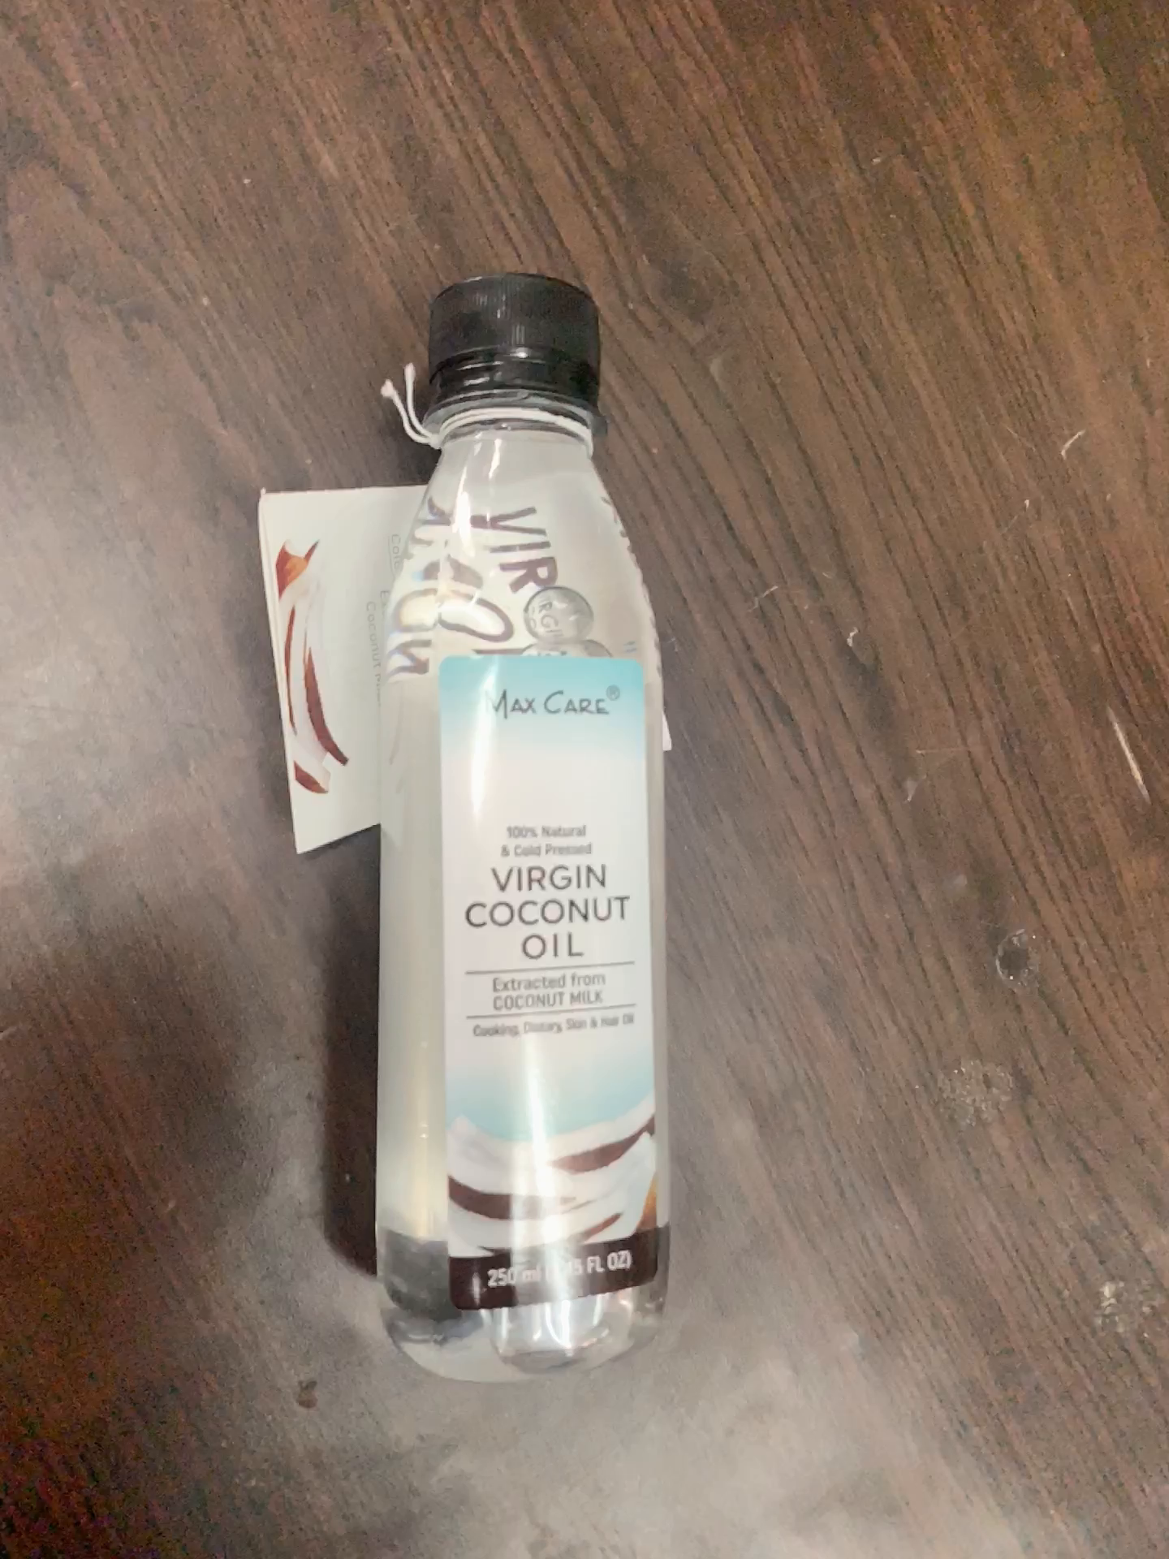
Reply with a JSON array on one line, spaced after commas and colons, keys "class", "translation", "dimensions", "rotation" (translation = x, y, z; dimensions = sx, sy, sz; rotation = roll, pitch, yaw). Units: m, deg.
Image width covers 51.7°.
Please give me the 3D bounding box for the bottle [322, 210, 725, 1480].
[{"class": "bottle", "translation": [-0.013, 0.007, 0.193], "dimensions": [0.050, 0.050, 0.170], "rotation": [1, 84, -19]}]
